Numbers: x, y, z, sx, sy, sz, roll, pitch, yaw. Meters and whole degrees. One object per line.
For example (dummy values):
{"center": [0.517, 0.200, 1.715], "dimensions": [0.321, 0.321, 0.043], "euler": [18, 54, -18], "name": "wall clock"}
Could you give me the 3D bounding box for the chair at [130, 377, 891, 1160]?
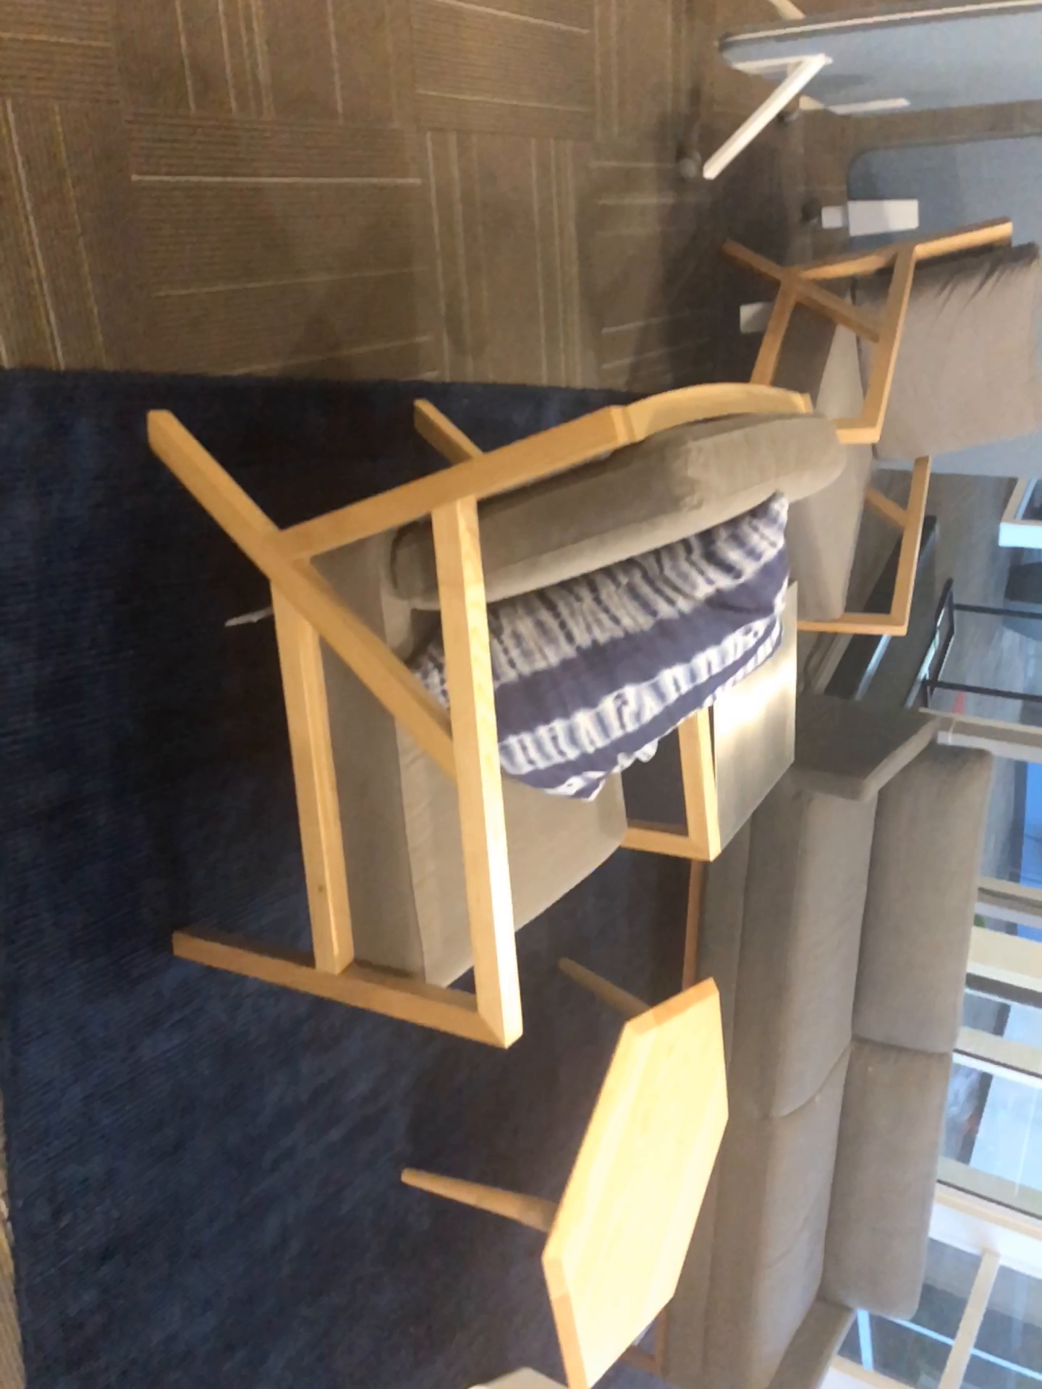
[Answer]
{"center": [0.008, -0.012, 1.641], "dimensions": [0.676, 0.774, 0.829], "euler": [-22, 118, -56], "name": "chair"}
